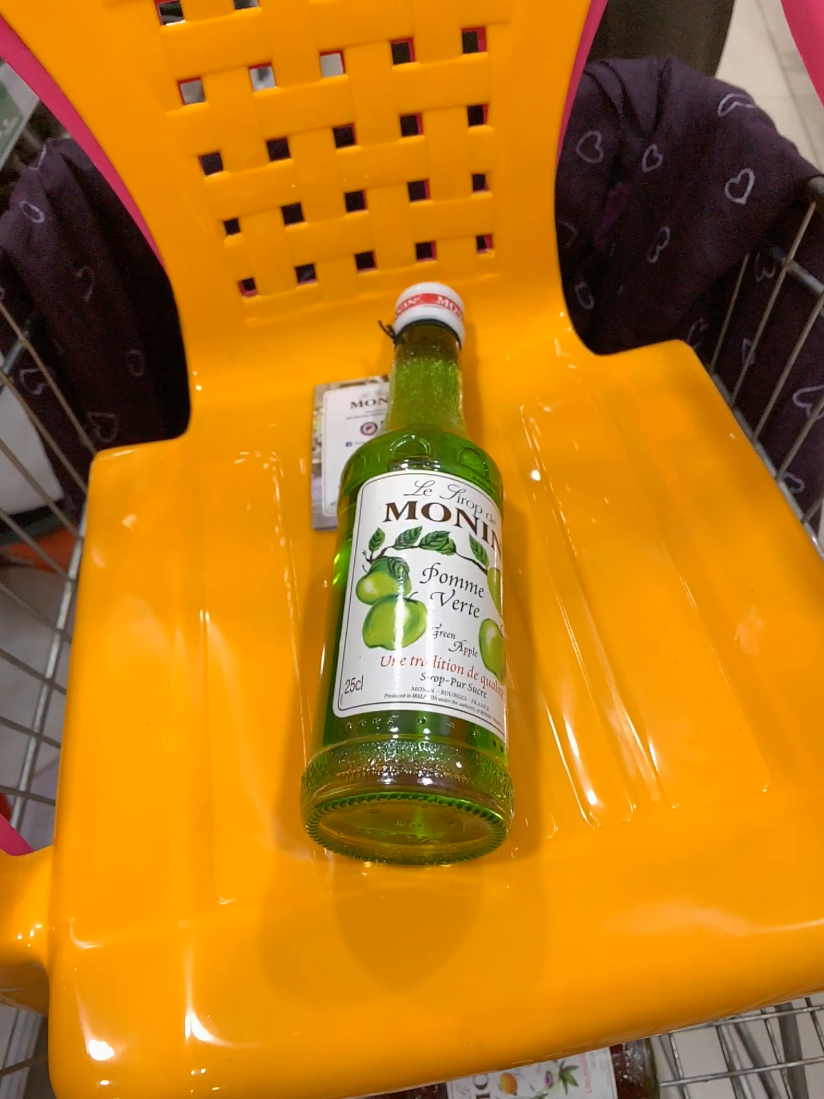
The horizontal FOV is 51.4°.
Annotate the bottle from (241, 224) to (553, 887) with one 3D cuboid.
[{"bbox_3d":[0.002,-0.009,0.295,0.060,0.060,0.220,-31,42,39],"label":"bottle"}]

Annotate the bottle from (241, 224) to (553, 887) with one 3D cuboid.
[{"bbox_3d":[0.002,-0.009,0.295,0.060,0.060,0.220,-31,42,39],"label":"bottle"}]
